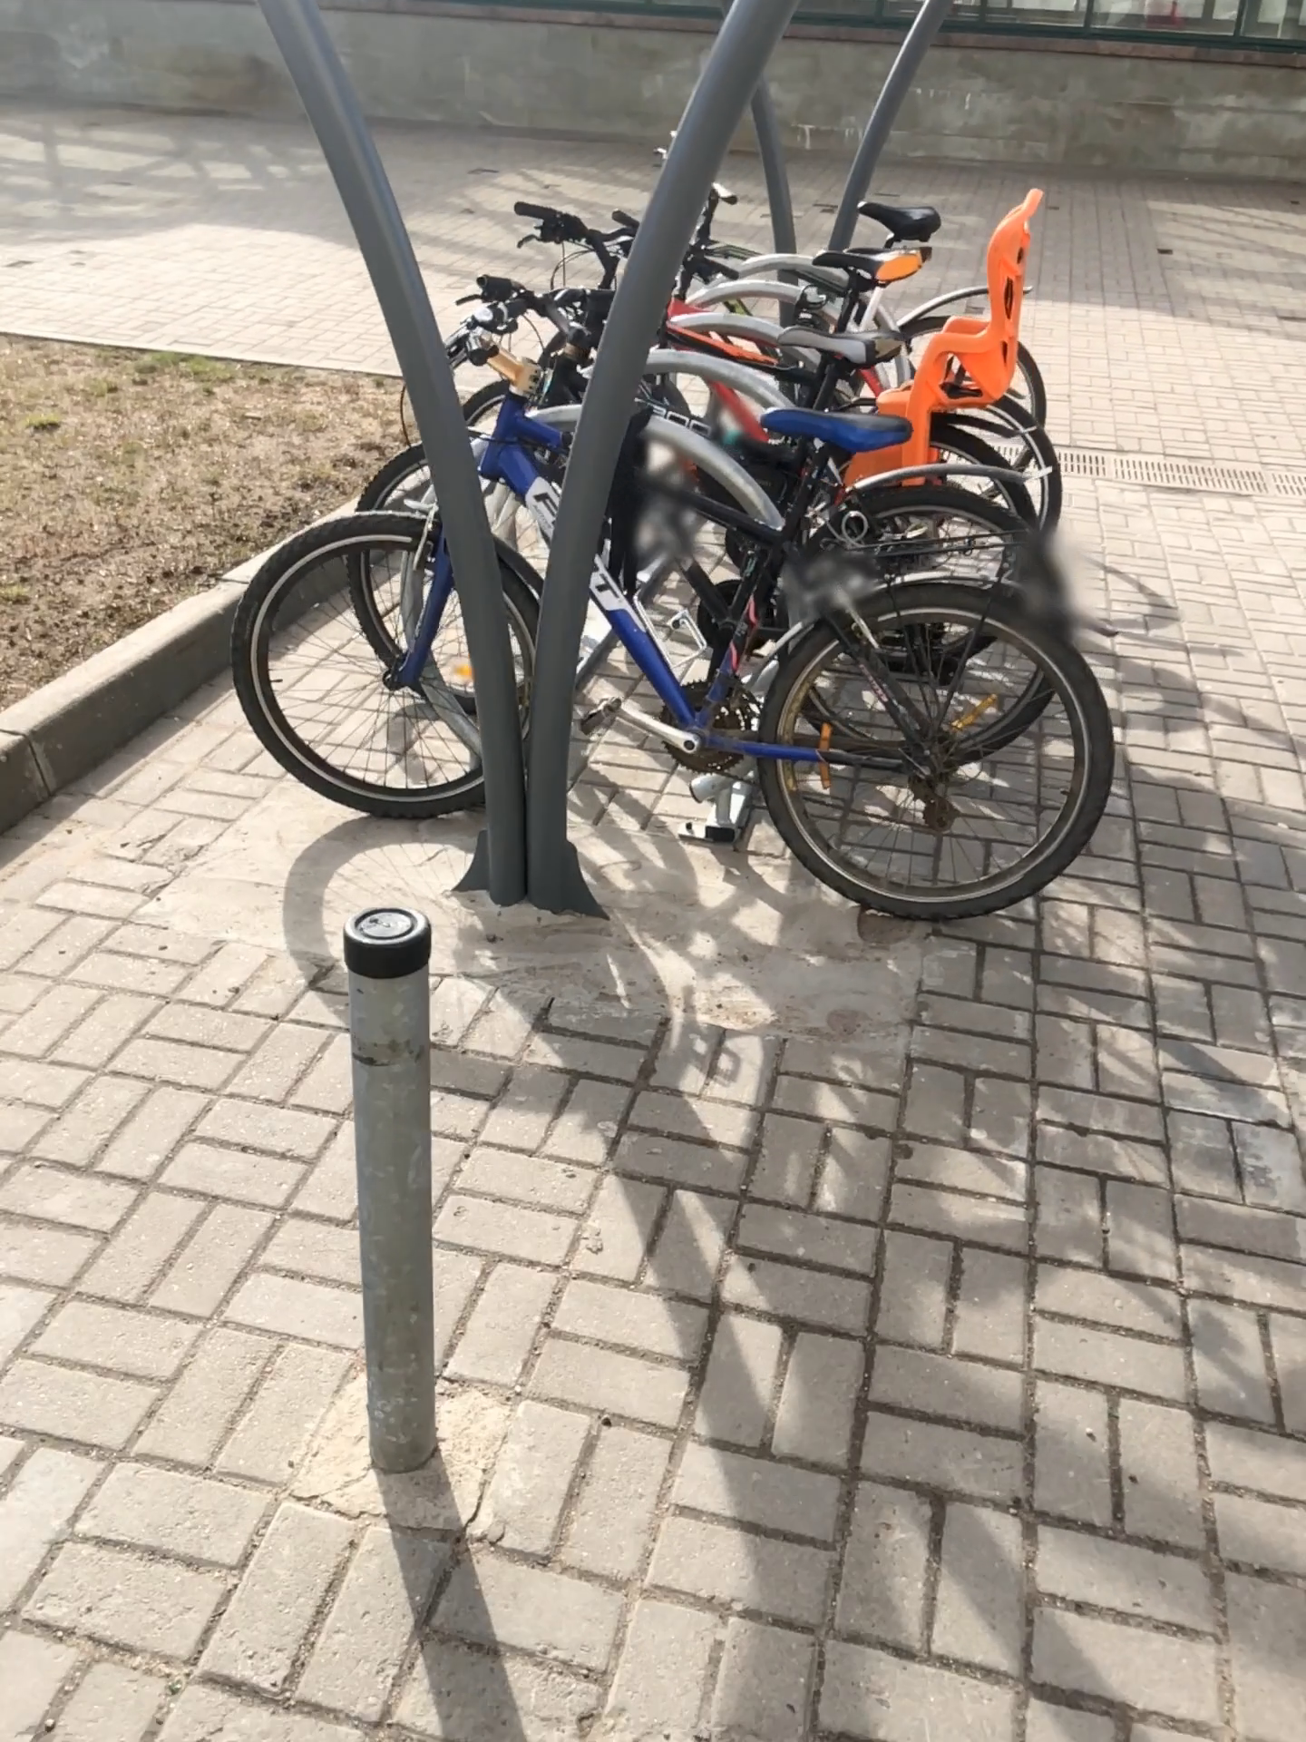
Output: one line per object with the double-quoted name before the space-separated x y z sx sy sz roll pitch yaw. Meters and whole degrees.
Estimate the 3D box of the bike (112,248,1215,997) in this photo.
"bike" 0.044 -0.487 2.598 1.659 0.959 0.630 10 32 9
